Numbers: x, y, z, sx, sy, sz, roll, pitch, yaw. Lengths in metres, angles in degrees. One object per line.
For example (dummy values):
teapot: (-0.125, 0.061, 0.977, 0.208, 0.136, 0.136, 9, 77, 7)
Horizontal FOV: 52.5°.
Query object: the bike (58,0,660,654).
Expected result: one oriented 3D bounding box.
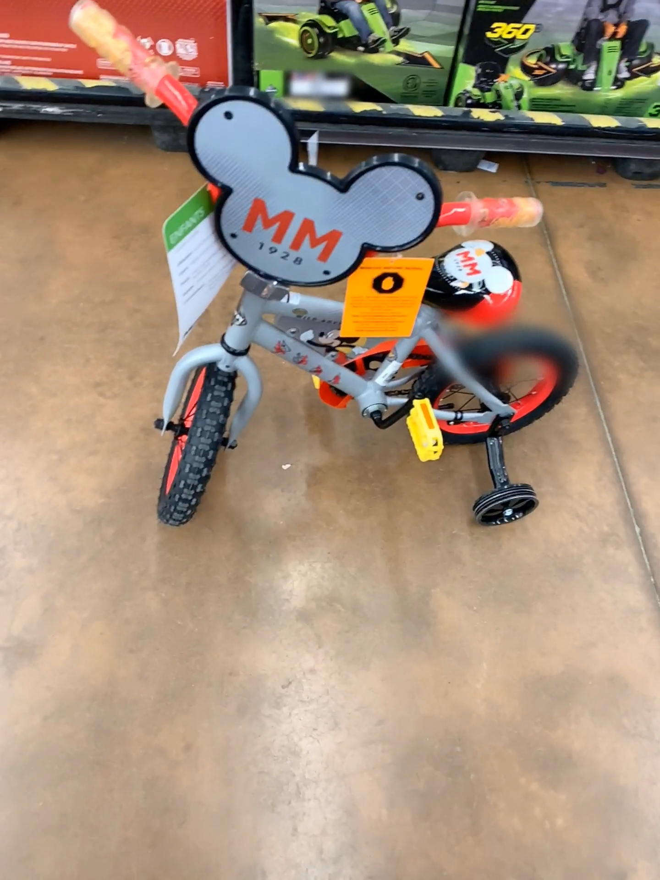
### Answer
bike: (0.056, -0.148, 0.924, 0.641, 0.689, 0.453, -16, 58, -12)
